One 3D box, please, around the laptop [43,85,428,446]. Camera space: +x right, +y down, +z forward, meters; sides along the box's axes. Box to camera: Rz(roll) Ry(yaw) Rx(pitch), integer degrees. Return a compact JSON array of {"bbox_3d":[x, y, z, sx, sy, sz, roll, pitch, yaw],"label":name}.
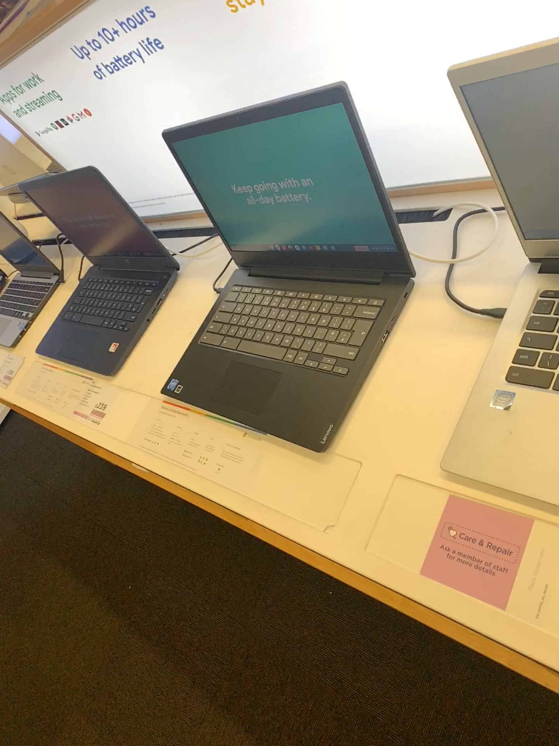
[{"bbox_3d":[-0.058,-0.121,0.676,0.317,0.201,0.281,13,69,47],"label":"laptop"}]
